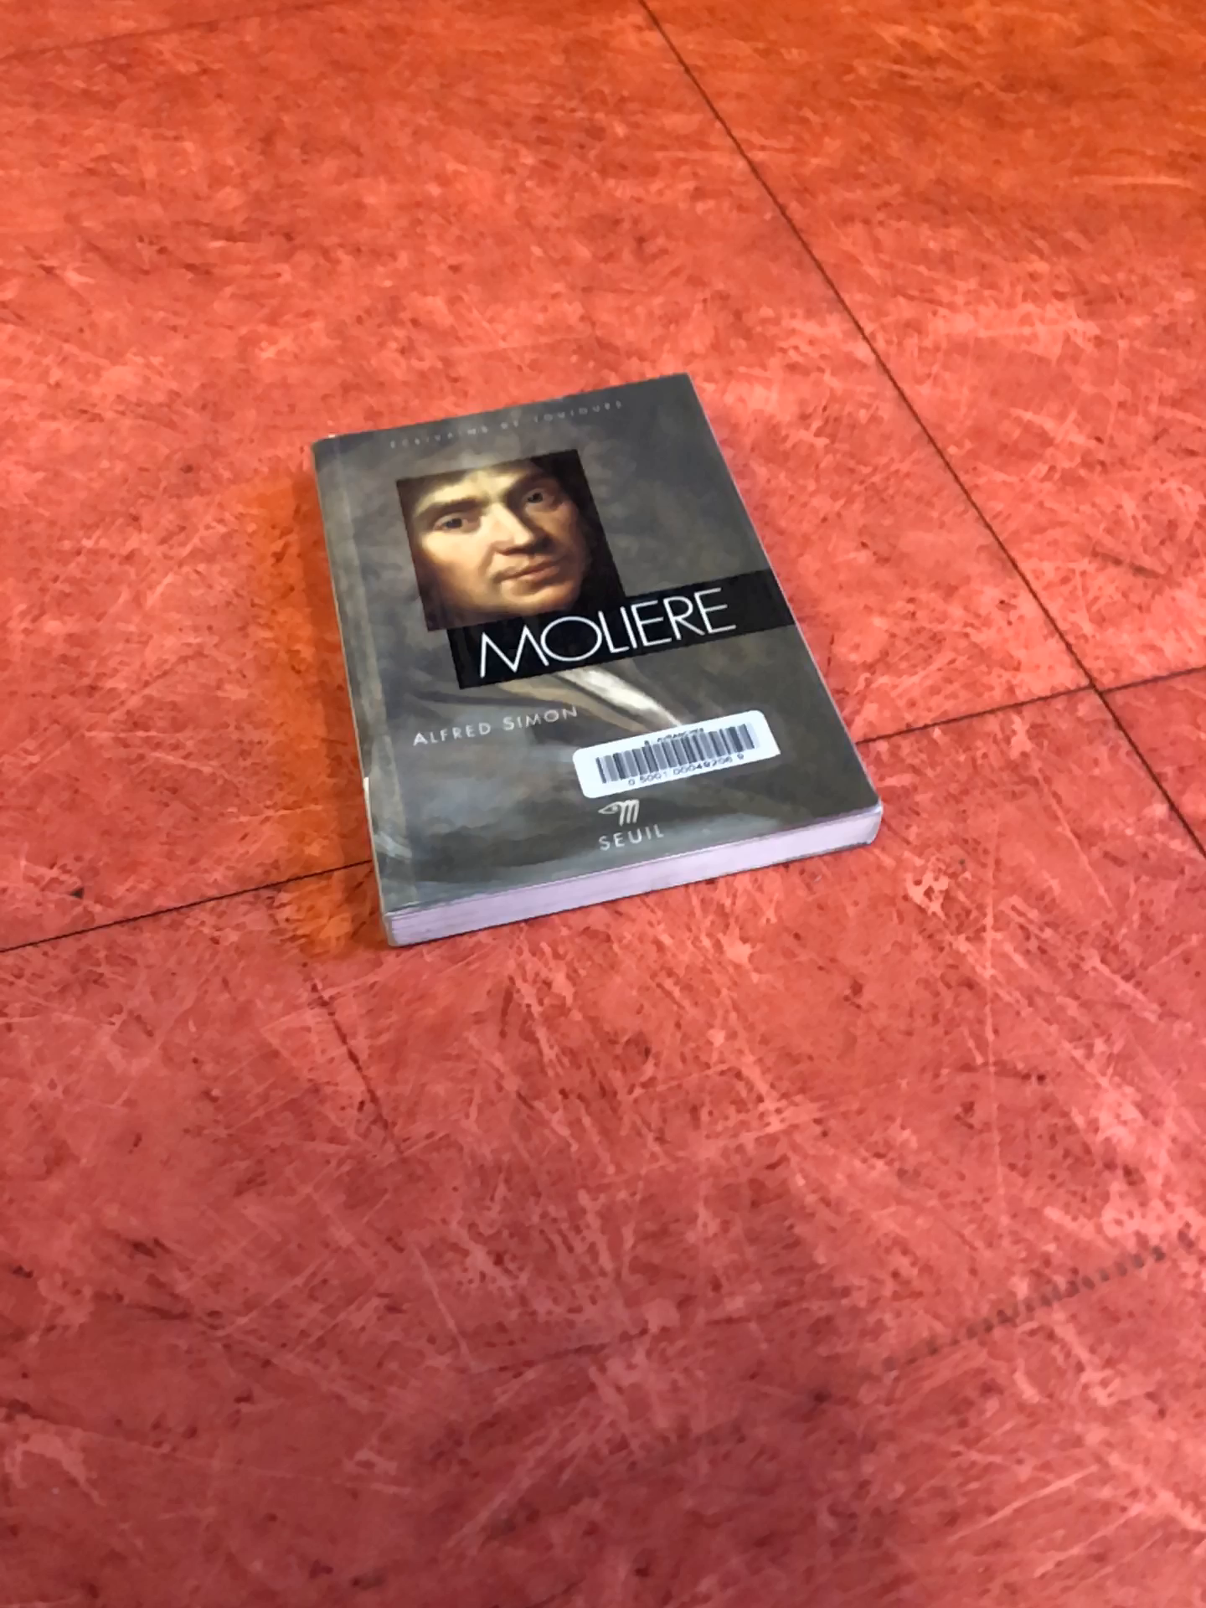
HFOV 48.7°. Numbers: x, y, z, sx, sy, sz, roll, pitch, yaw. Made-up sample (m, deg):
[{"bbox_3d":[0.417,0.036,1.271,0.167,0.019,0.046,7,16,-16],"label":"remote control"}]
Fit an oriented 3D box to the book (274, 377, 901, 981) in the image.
[{"bbox_3d":[-0.015,-0.048,0.370,0.134,0.015,0.184,-12,53,-6],"label":"book"}]
